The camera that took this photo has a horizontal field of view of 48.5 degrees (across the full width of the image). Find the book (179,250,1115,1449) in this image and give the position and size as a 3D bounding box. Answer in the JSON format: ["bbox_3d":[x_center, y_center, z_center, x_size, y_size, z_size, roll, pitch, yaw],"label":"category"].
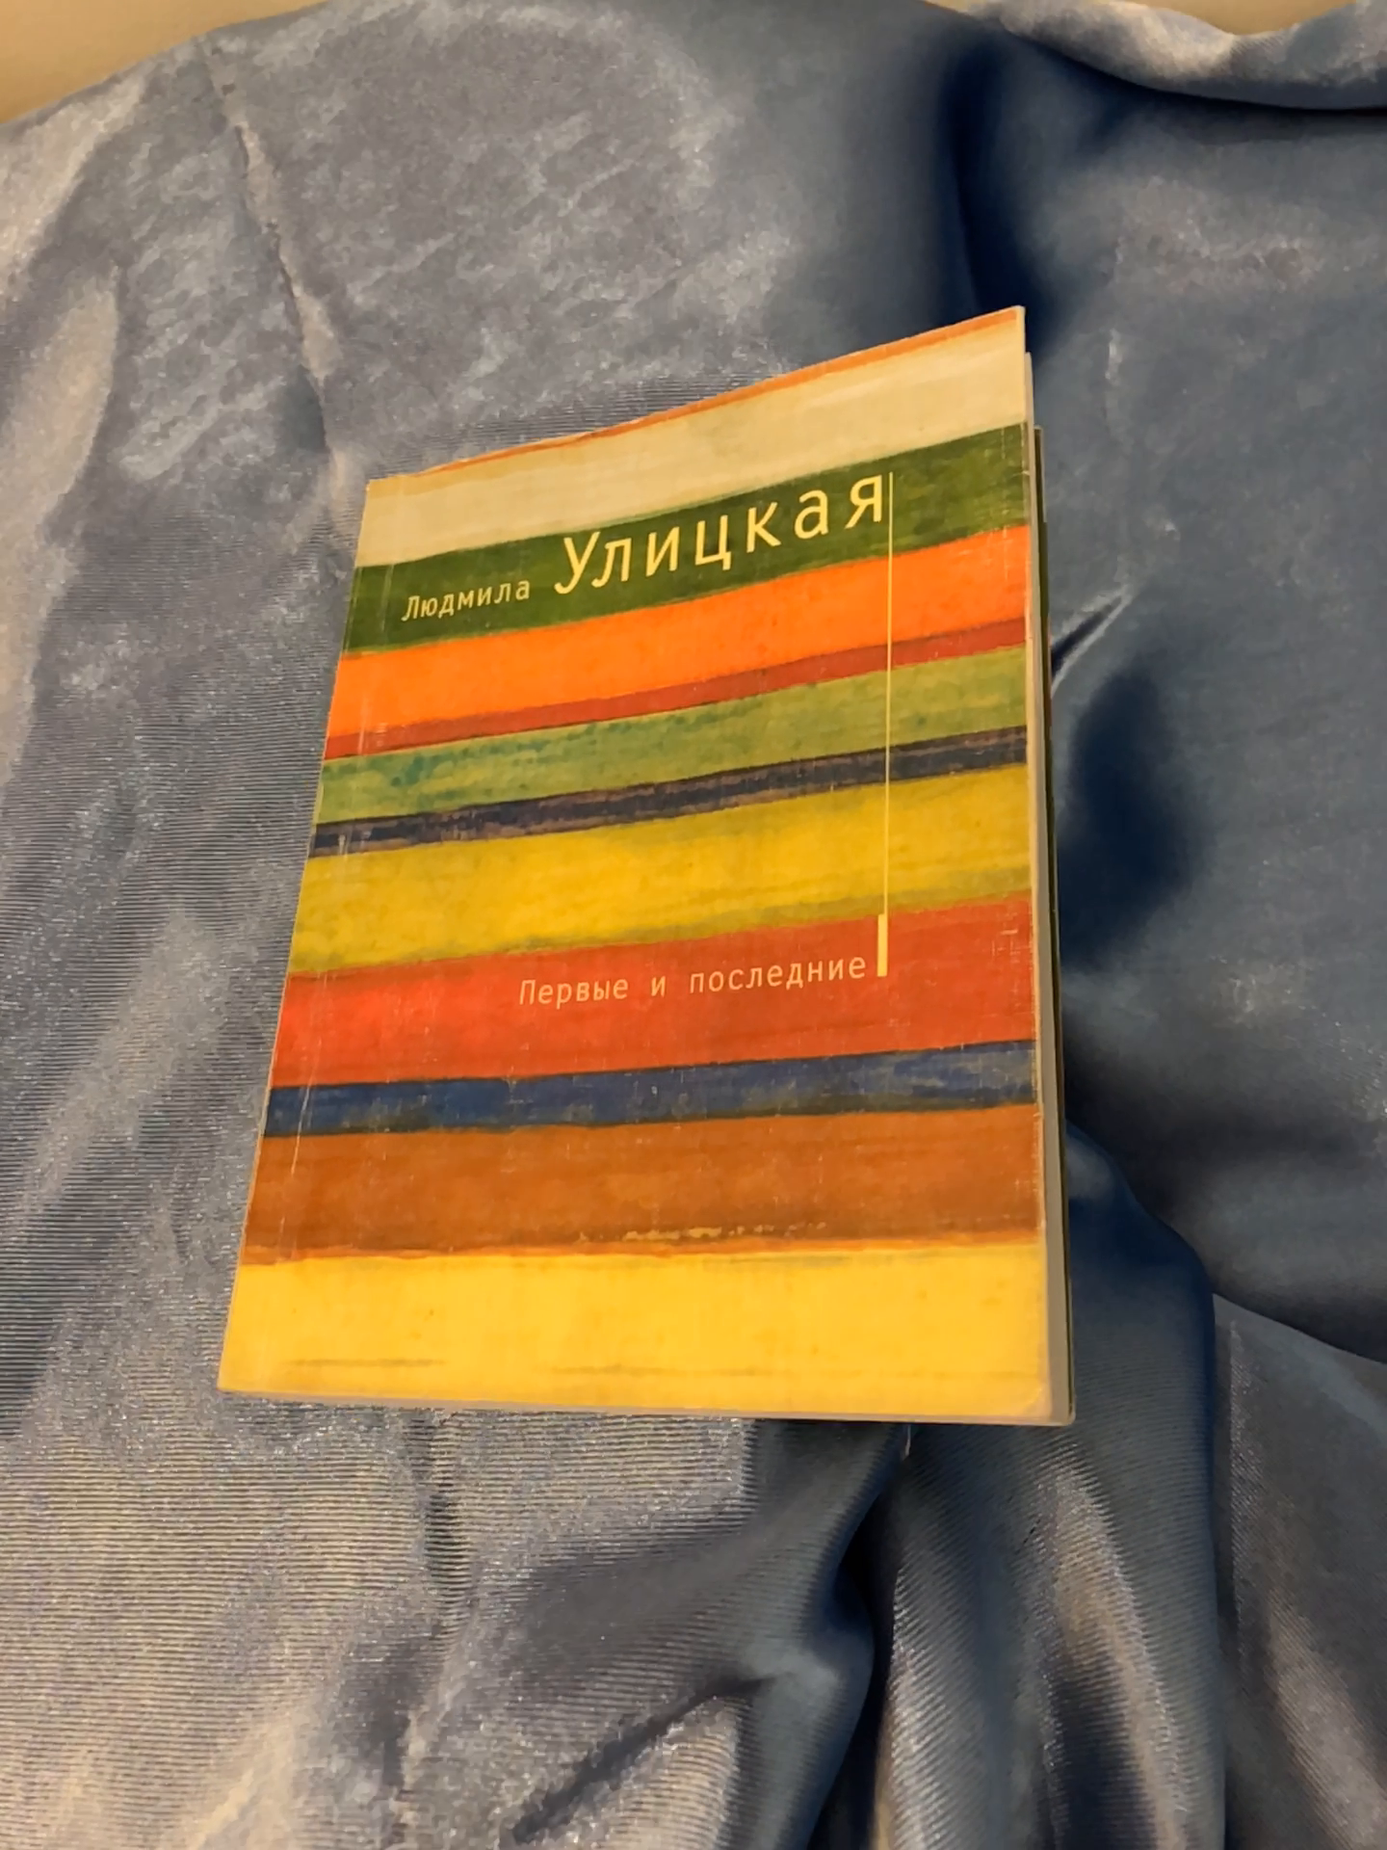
[{"bbox_3d":[-0.007,-0.011,0.237,0.129,0.026,0.167,-6,67,25],"label":"book"}]
